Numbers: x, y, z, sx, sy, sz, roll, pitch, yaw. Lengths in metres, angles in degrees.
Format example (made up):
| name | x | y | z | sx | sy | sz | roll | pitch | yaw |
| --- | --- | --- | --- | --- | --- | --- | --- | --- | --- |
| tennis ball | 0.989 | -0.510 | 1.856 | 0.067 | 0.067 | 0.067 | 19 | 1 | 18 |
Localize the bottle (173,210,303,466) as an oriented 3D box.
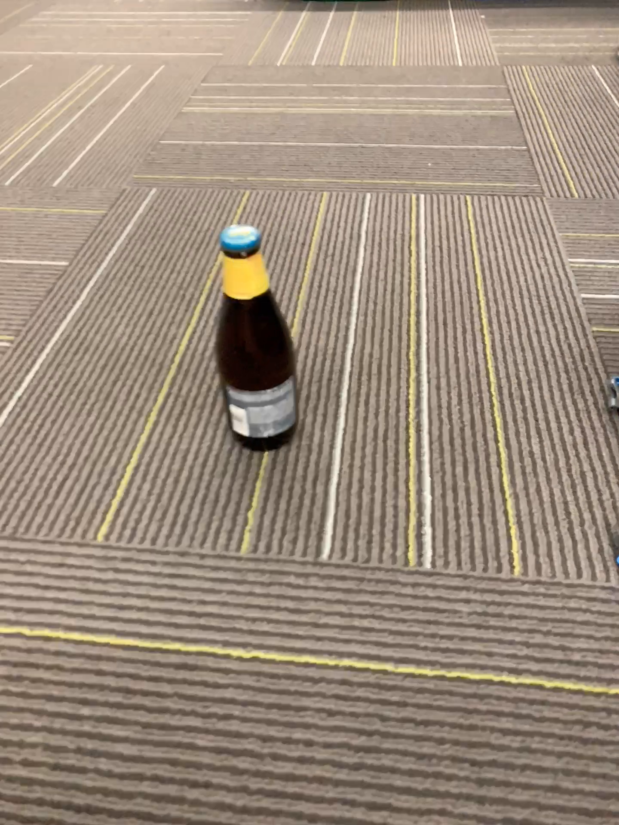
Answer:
| name | x | y | z | sx | sy | sz | roll | pitch | yaw |
| --- | --- | --- | --- | --- | --- | --- | --- | --- | --- |
| bottle | -0.049 | -0.050 | 0.476 | 0.060 | 0.179 | 0.060 | -1 | 44 | 1 |
